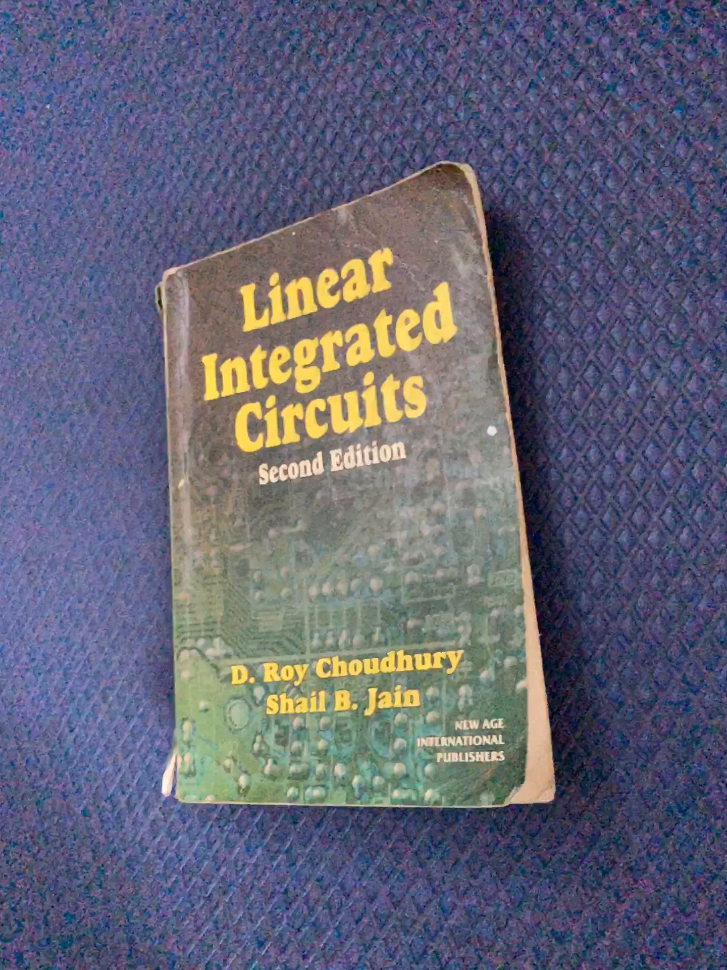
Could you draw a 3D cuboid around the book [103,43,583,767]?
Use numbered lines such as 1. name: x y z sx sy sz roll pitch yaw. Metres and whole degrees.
1. book: -0.025 -0.025 0.326 0.190 0.040 0.270 -10 77 24
